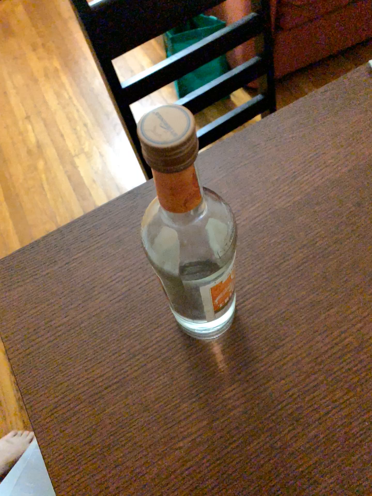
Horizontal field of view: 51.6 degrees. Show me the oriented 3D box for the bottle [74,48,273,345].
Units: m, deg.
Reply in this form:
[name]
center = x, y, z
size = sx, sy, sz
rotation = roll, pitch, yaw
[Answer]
[bottle]
center = 0.012, -0.002, 0.324
size = 0.080, 0.299, 0.090
rotation = 10, 66, 11
